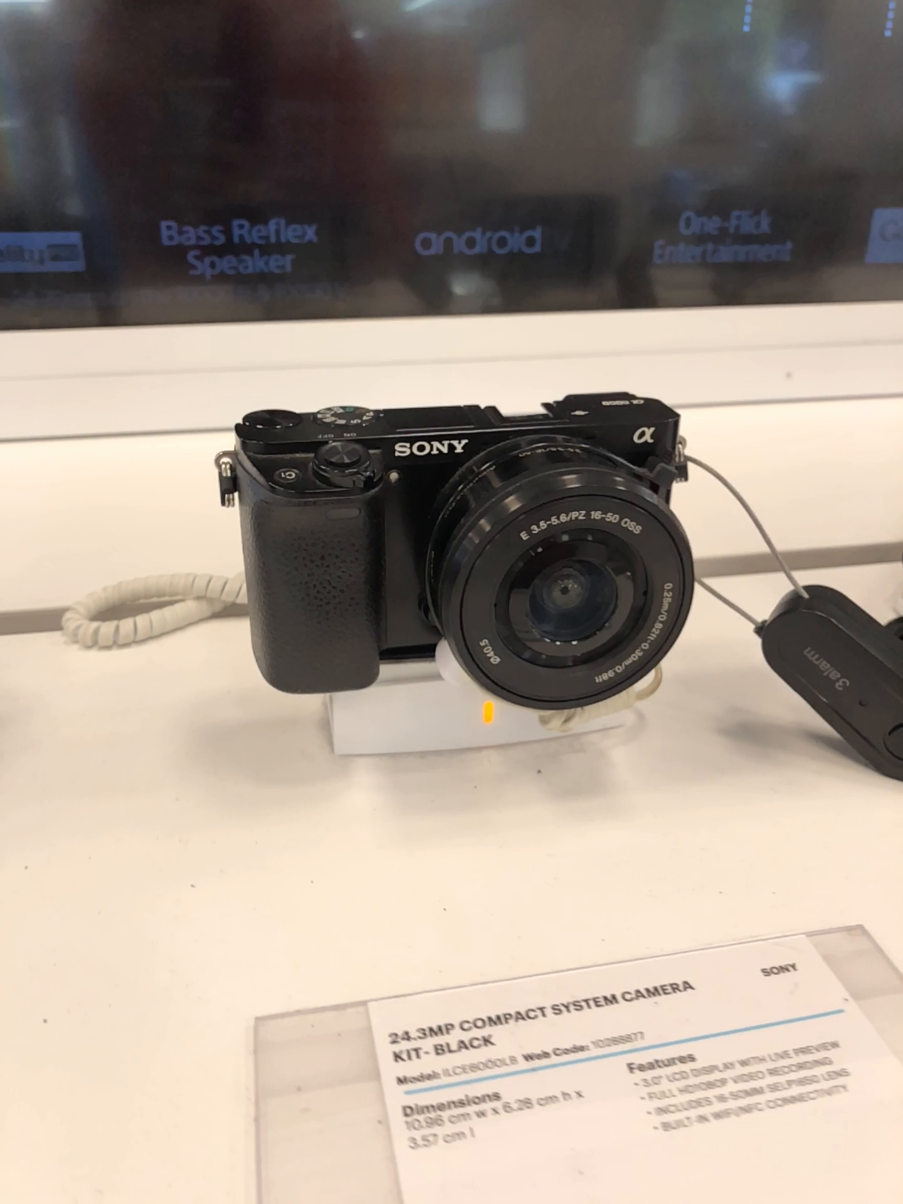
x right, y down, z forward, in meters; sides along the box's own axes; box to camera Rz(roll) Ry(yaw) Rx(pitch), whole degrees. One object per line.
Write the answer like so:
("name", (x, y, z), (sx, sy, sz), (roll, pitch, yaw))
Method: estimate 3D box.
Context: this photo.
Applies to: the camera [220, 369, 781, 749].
("camera", (0.008, -0.017, 0.276), (0.130, 0.070, 0.070), (-6, 27, -12))
